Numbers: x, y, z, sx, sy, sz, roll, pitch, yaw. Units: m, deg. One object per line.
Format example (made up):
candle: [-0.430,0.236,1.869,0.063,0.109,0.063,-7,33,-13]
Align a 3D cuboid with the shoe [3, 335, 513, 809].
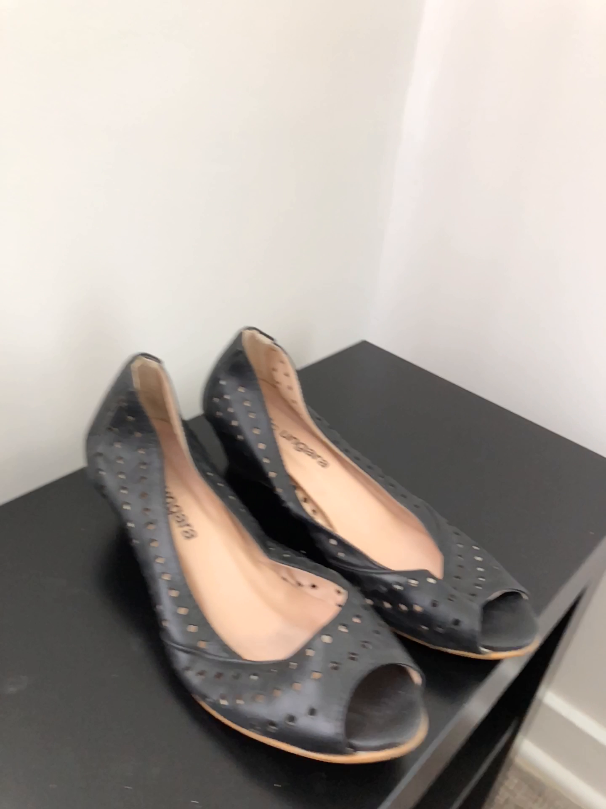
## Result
shoe: [-0.038,0.067,0.316,0.231,0.100,0.085,31,40,33]

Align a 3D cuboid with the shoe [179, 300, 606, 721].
shoe: [0.038,0.038,0.361,0.221,0.100,0.085,30,39,32]
